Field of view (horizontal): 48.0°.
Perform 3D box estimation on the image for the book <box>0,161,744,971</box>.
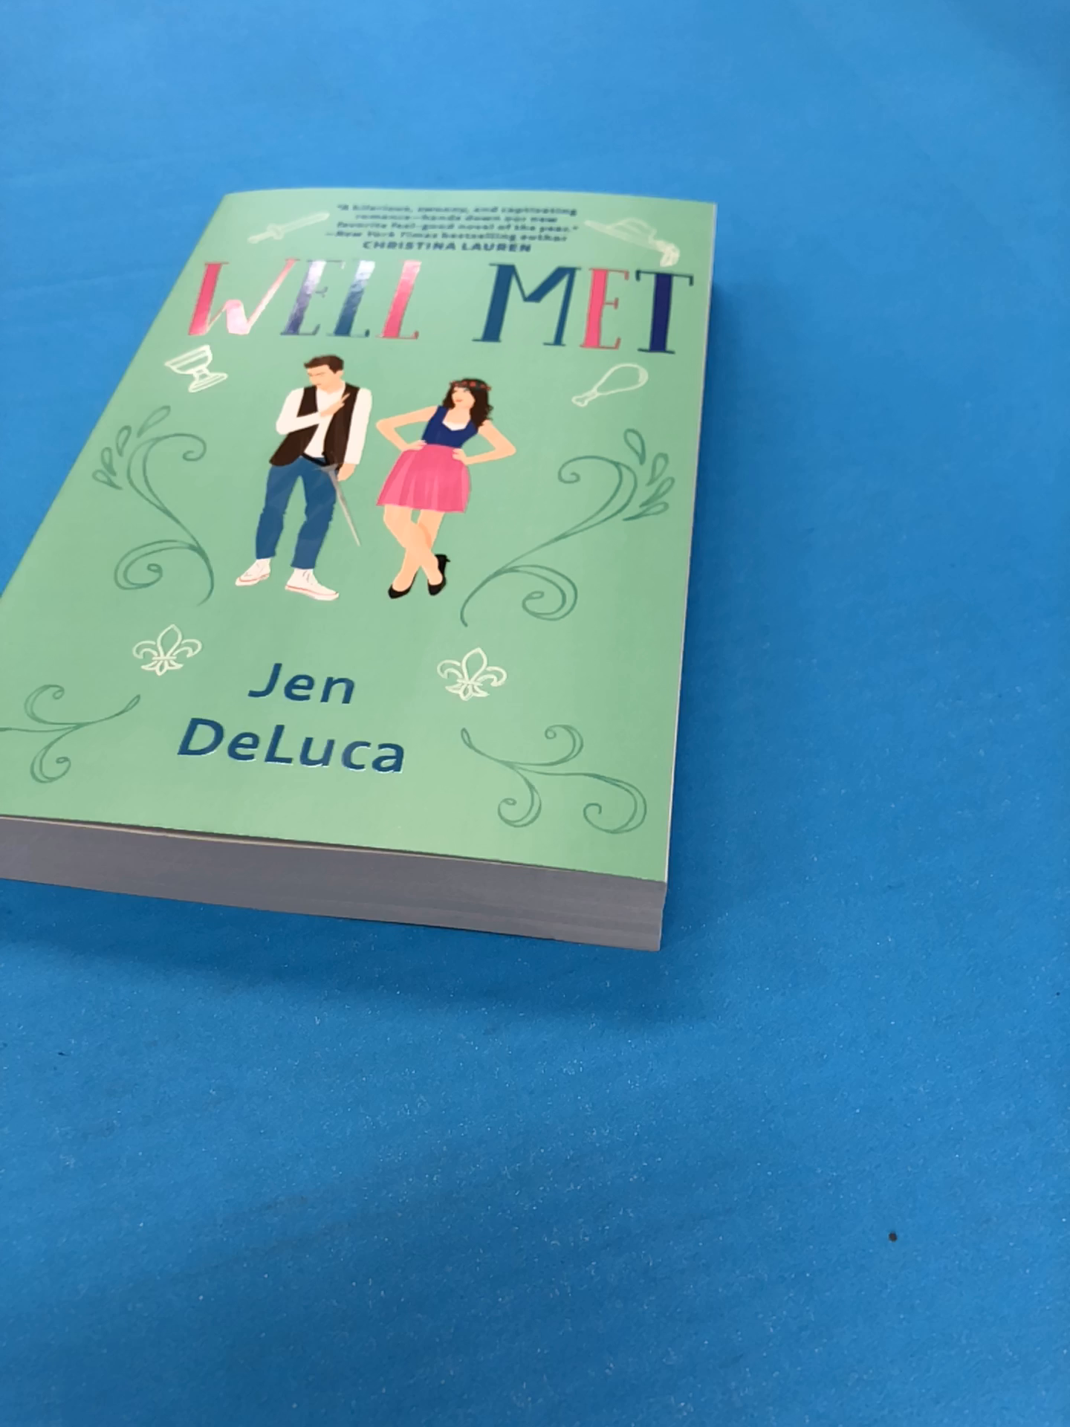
[{"bbox_3d":[-0.030,-0.054,0.275,0.146,0.030,0.216,5,52,6],"label":"book"}]
